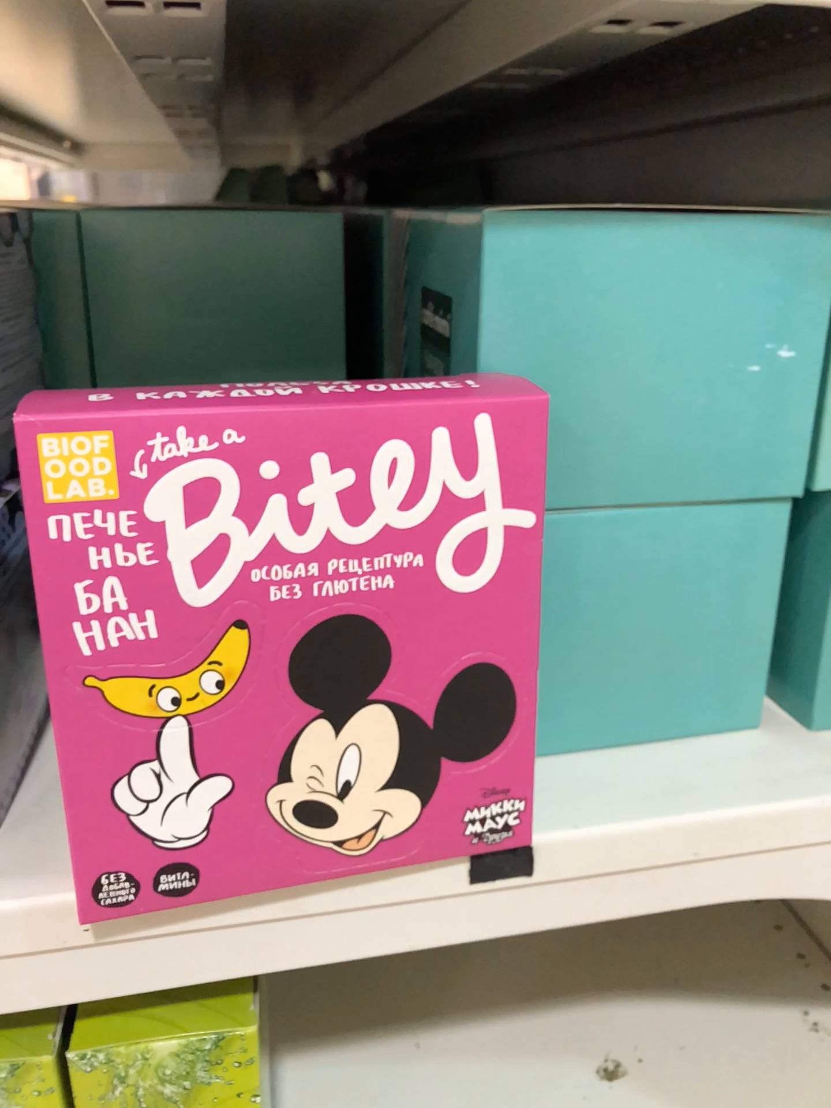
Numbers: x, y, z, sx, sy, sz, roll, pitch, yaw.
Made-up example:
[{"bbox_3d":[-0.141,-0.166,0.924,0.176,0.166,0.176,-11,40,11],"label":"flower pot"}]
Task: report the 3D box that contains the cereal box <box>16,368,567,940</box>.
[{"bbox_3d":[-0.032,0.025,0.275,0.140,0.149,0.040,-5,19,-17],"label":"cereal box"}]
